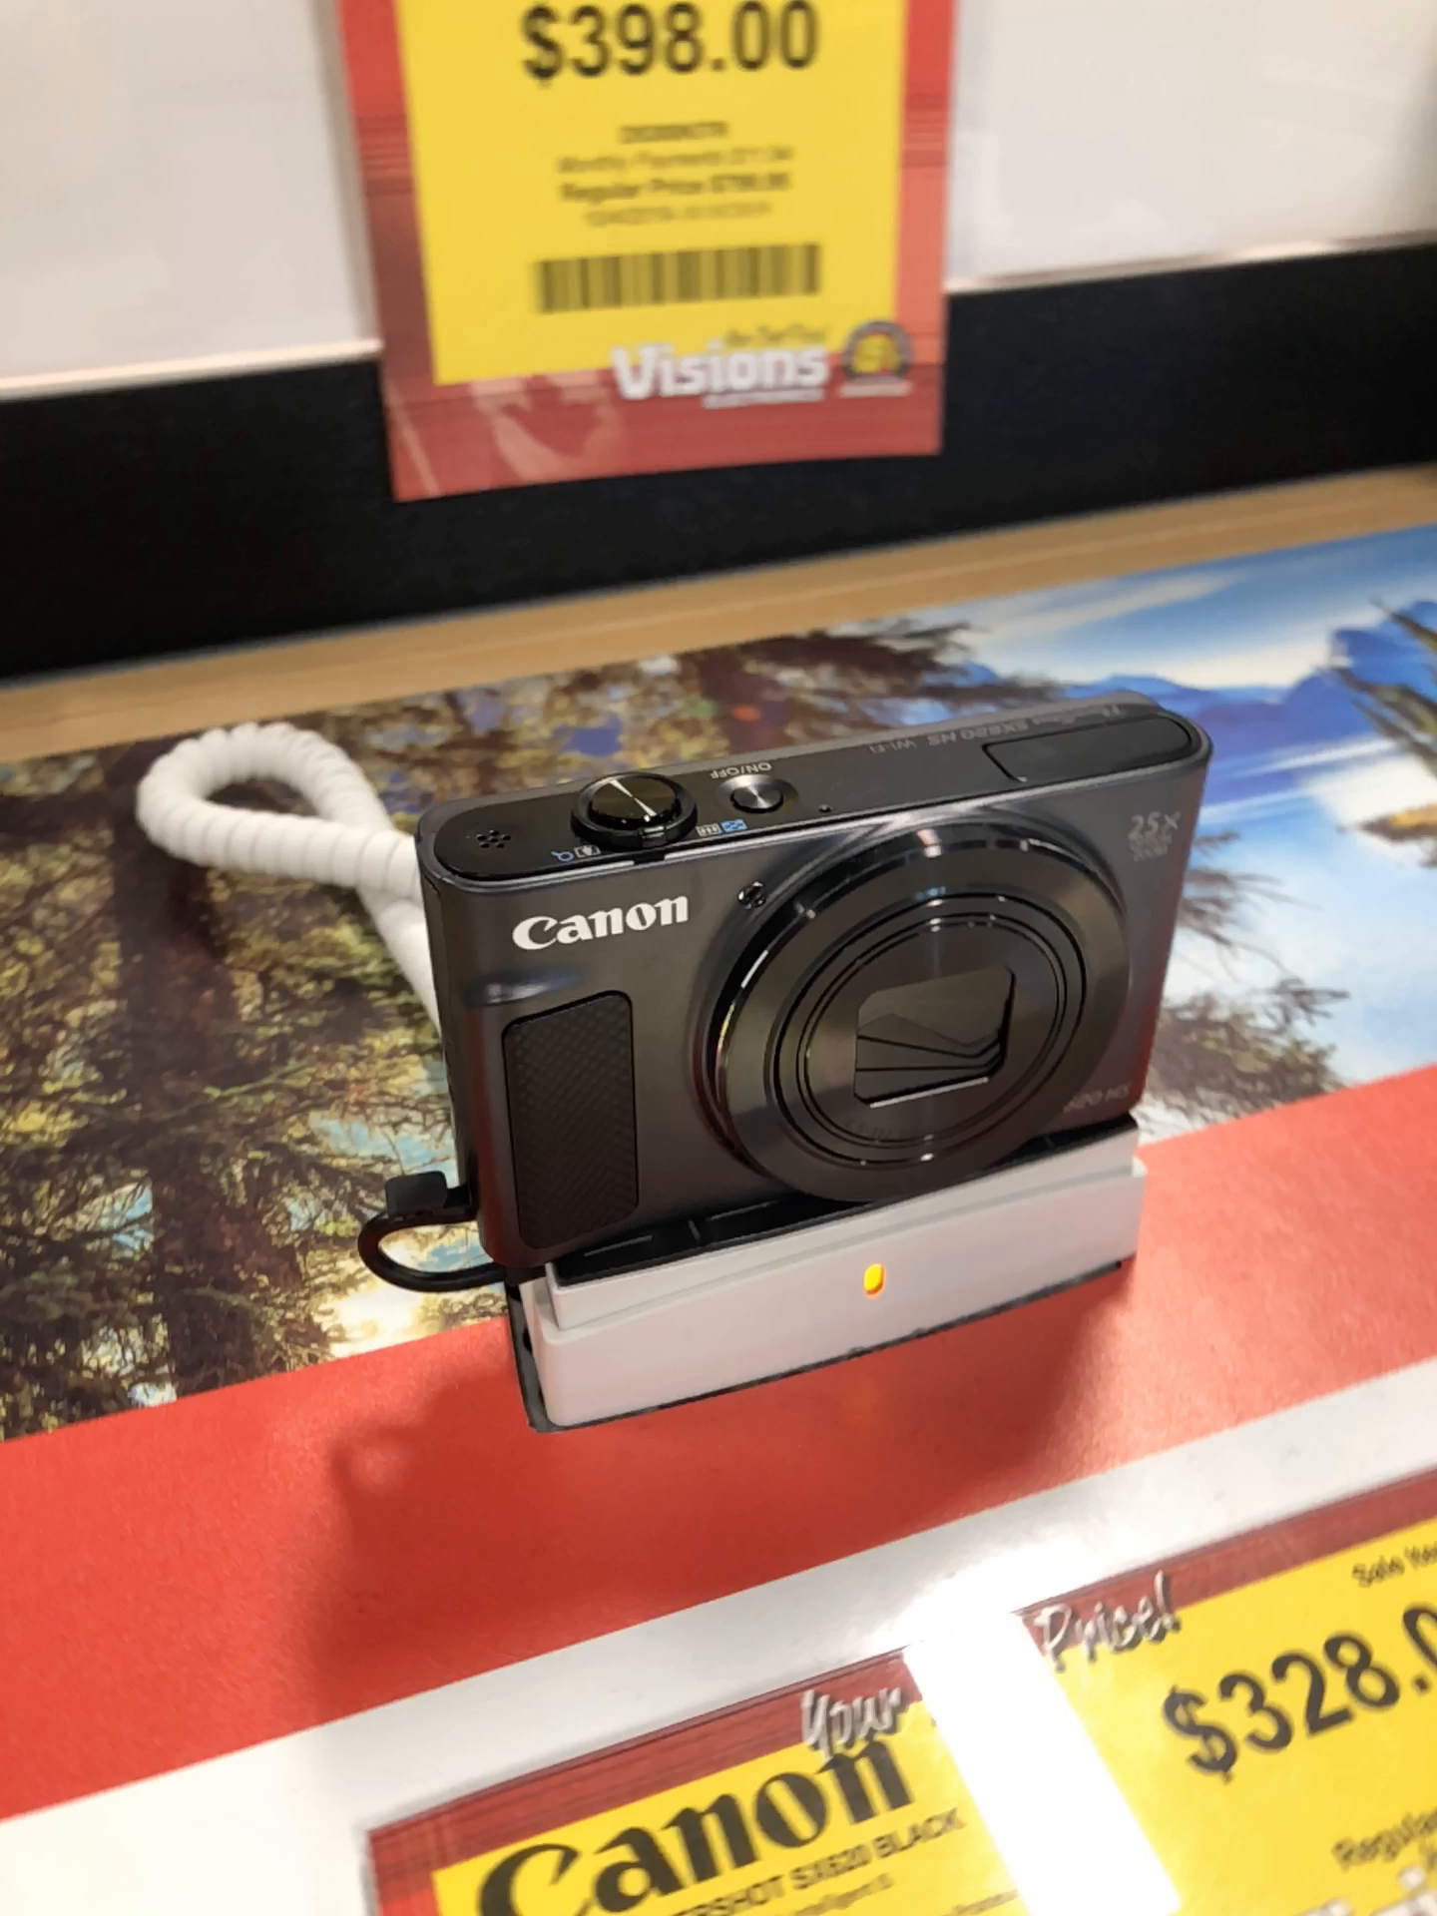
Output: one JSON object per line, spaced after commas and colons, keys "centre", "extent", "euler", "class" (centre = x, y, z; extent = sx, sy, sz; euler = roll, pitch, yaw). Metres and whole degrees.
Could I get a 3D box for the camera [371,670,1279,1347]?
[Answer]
{"centre": [0.013, 0.005, 0.202], "extent": [0.100, 0.060, 0.030], "euler": [-12, 37, -14], "class": "camera"}
